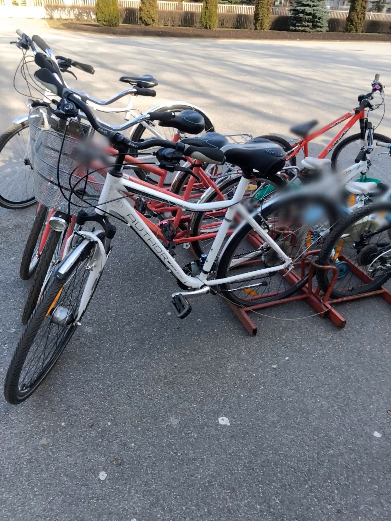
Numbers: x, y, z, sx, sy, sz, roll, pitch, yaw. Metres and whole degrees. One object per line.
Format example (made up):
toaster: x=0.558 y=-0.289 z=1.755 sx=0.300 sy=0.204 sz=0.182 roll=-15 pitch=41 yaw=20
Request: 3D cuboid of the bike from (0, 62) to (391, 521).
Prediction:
bike: x=0.109 y=-0.076 z=1.631 sx=1.603 sy=1.163 sz=0.621 roll=-18 pitch=36 yaw=-32
